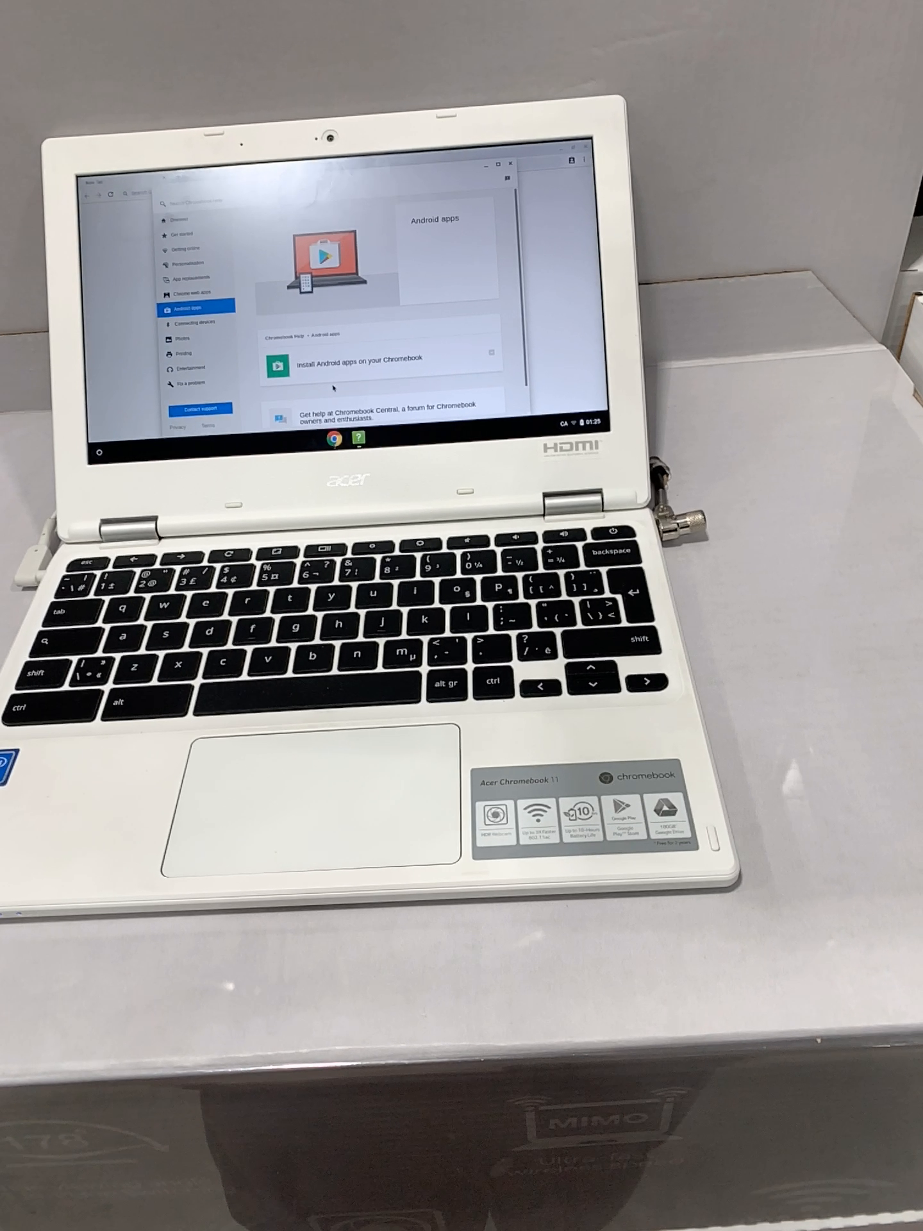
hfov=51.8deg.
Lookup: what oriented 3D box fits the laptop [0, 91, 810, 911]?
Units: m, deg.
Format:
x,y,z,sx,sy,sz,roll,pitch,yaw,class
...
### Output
x,y,z,sx,sy,sz,roll,pitch,yaw,class
-0.057,-0.073,0.386,0.282,0.132,0.330,-3,46,3,laptop
